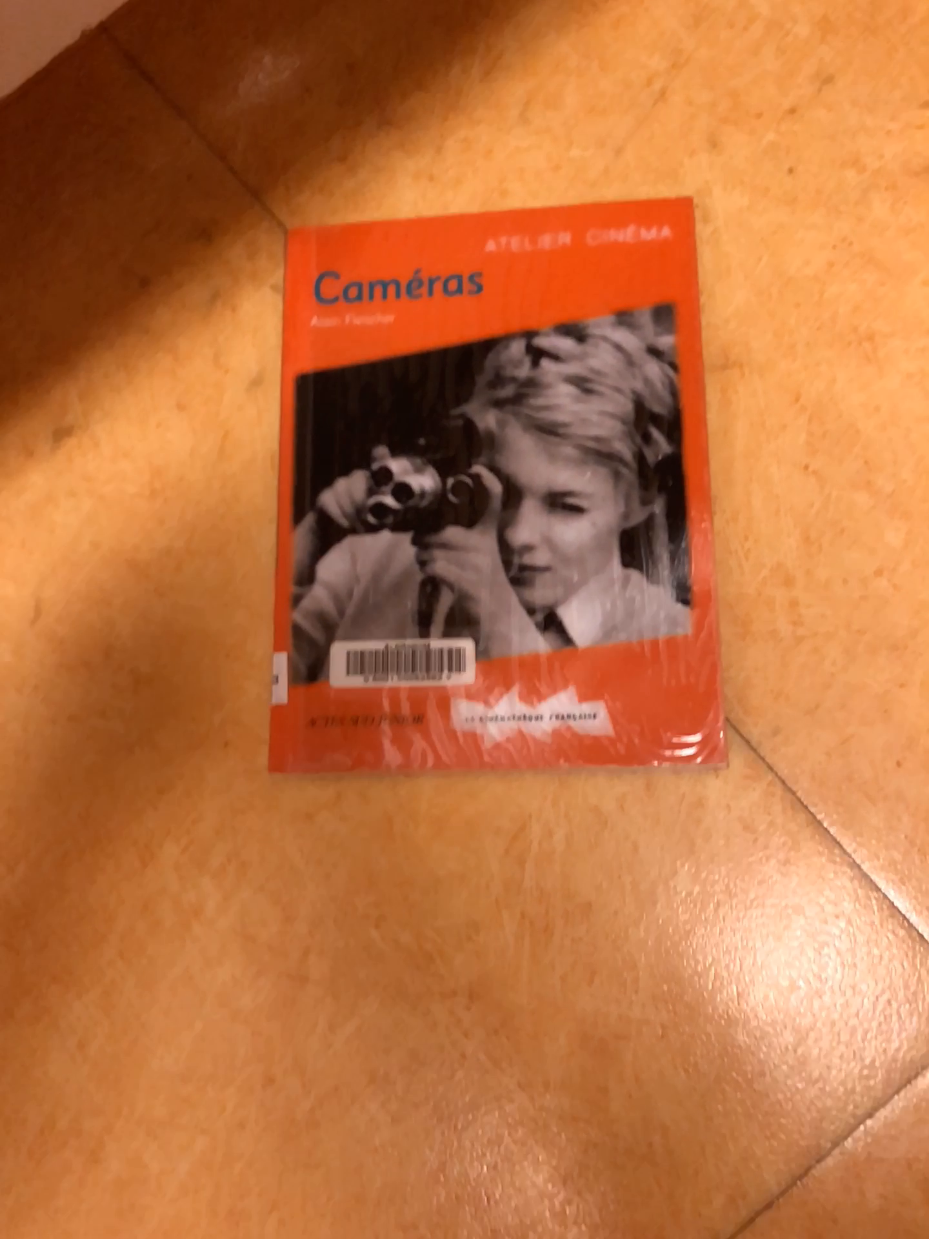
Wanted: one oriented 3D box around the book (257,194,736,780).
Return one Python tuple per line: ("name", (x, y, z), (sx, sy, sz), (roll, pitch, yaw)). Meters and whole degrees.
("book", (0.008, -0.049, 0.360), (0.155, 0.011, 0.205), (-2, 76, 7))
